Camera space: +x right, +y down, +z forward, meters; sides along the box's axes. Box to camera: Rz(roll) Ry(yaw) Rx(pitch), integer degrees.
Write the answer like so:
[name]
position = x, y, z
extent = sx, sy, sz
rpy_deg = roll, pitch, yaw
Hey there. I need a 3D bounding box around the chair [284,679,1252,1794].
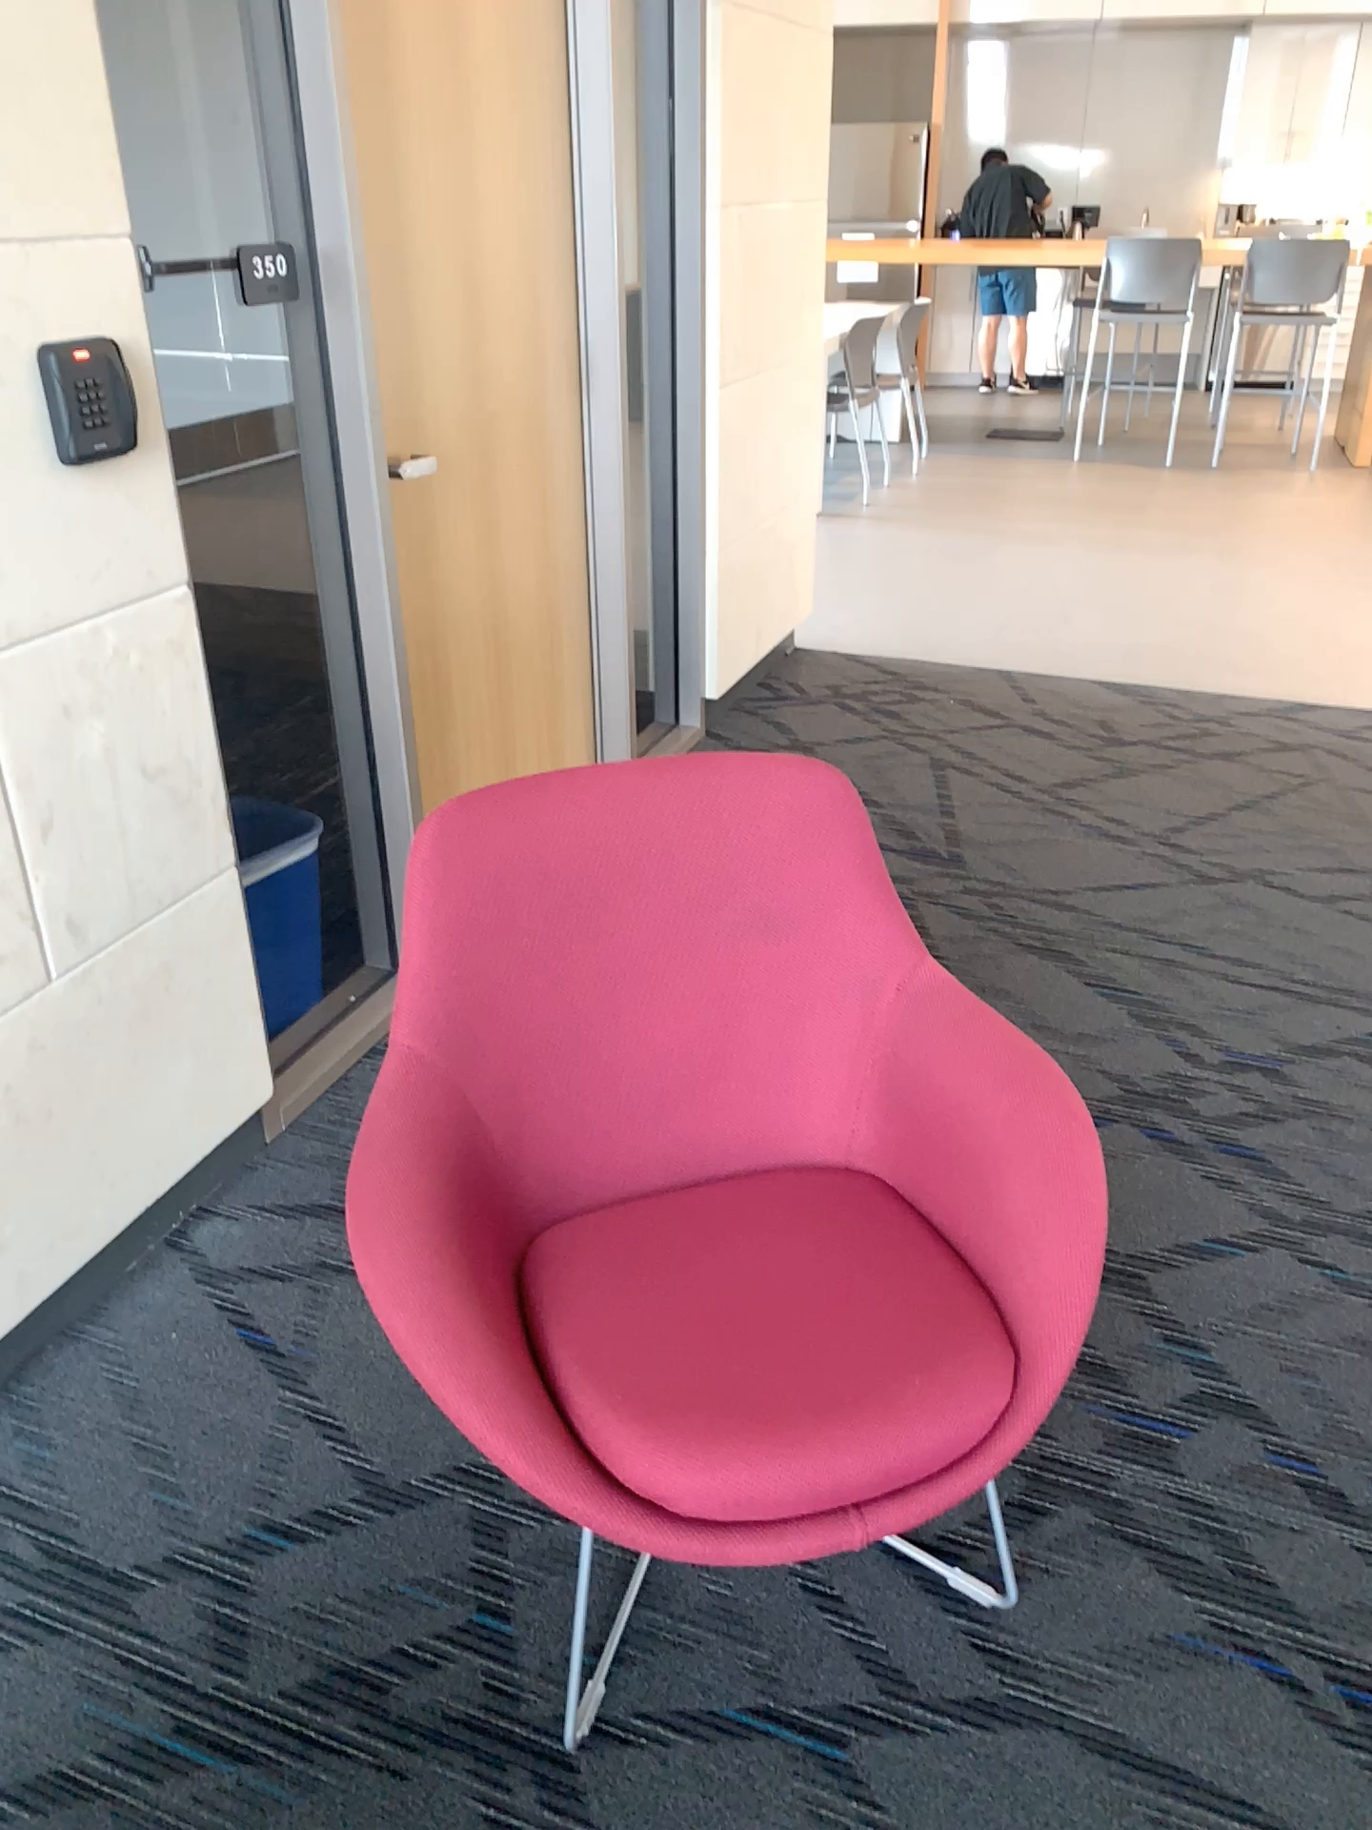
[chair]
position = 0.016, 0.251, 1.409
extent = 0.691, 0.754, 0.614
rpy_deg = -8, 28, -15
